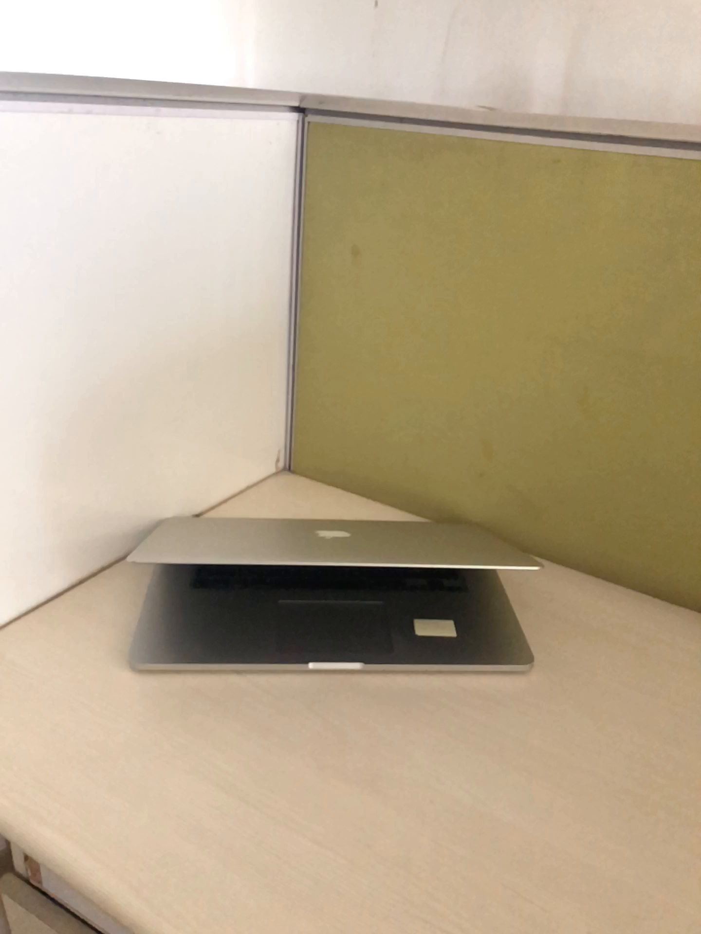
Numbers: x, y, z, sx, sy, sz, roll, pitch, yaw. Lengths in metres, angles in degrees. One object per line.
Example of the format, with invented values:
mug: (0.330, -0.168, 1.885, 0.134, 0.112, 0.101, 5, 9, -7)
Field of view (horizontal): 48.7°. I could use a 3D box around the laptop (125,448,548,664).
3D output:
laptop: (-0.019, 0.076, 0.753, 0.343, 0.083, 0.245, 2, 25, -6)
